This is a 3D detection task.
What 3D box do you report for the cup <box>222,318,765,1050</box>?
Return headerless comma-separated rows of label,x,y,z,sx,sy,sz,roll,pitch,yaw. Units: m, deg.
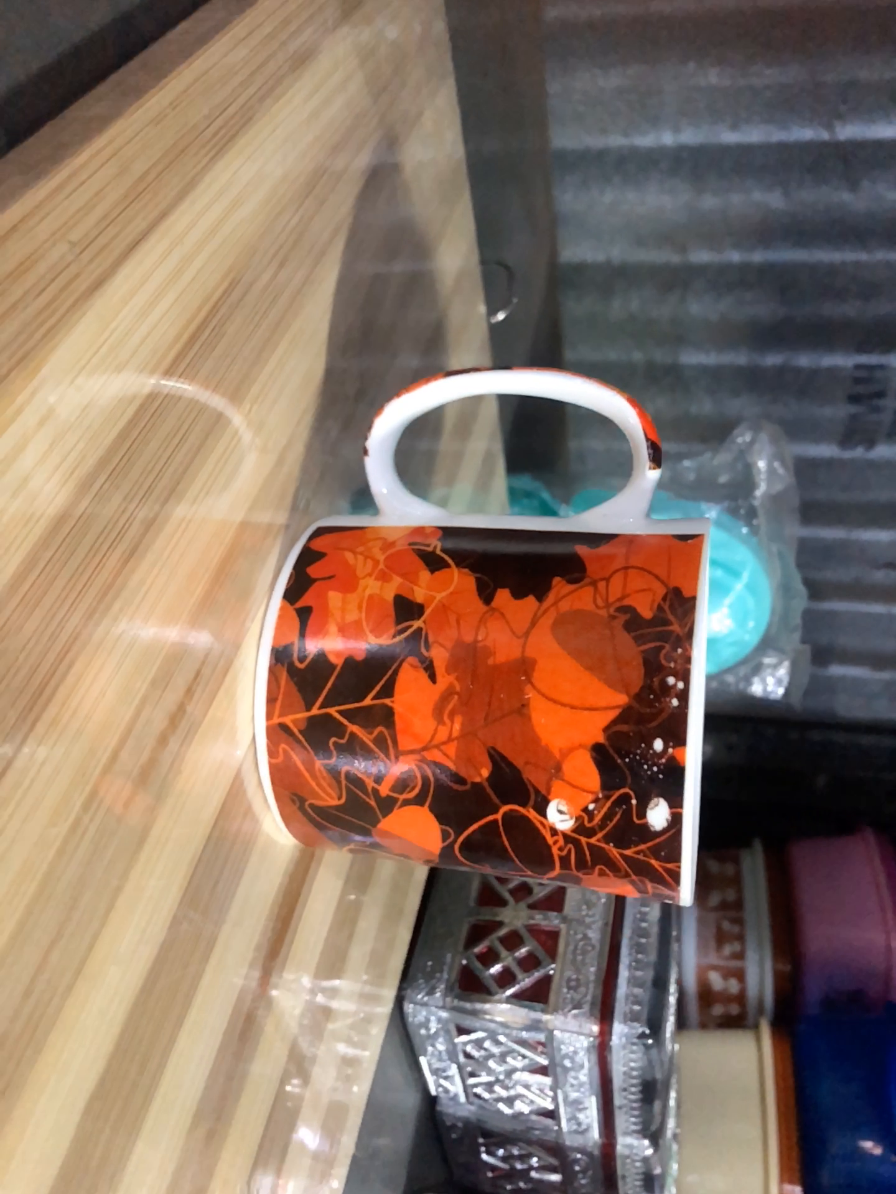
cup,0.014,0.007,0.193,0.080,0.080,0.110,-36,128,-73
